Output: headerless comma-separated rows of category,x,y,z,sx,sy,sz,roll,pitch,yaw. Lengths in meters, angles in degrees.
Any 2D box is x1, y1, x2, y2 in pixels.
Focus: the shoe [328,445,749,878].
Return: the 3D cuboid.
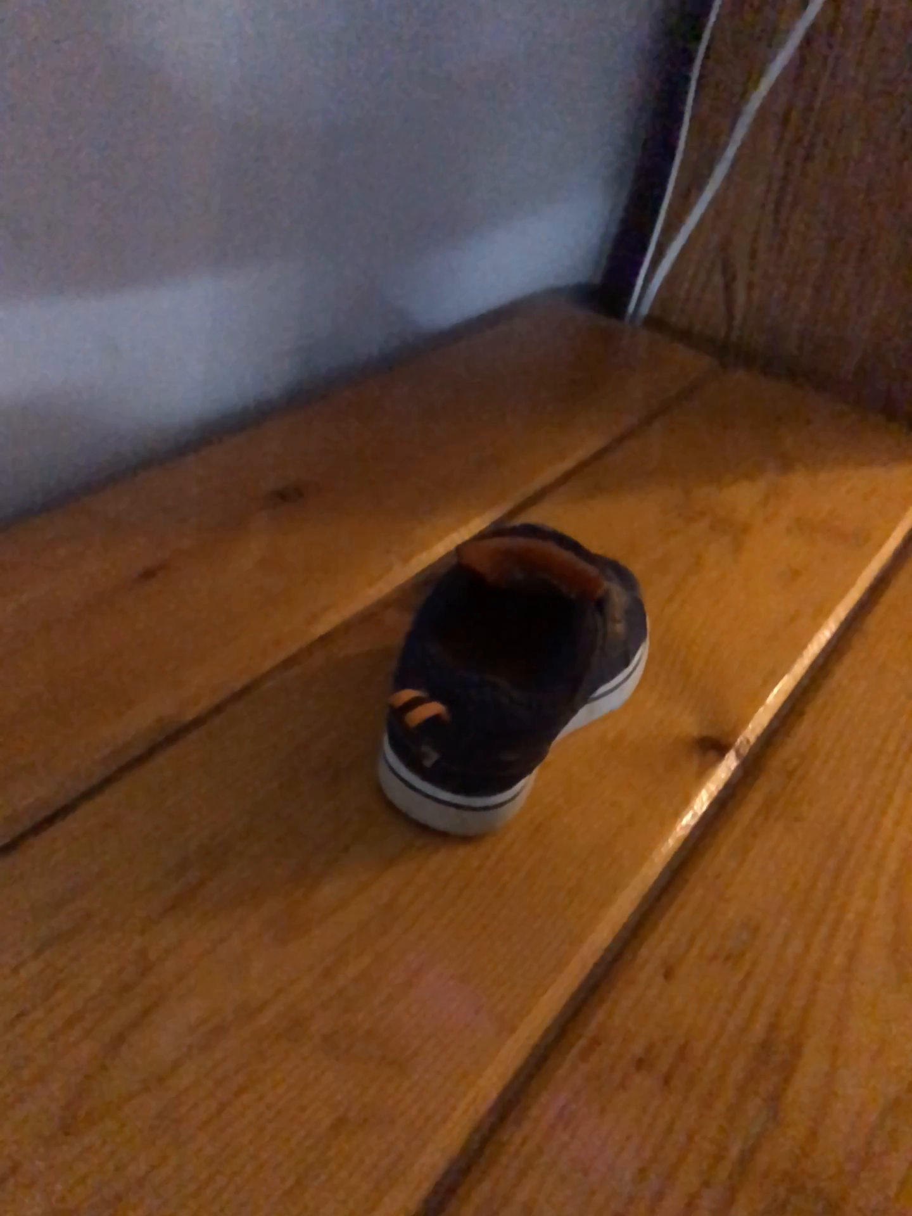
shoe,0.035,0.009,0.372,0.070,0.070,0.161,29,40,23
